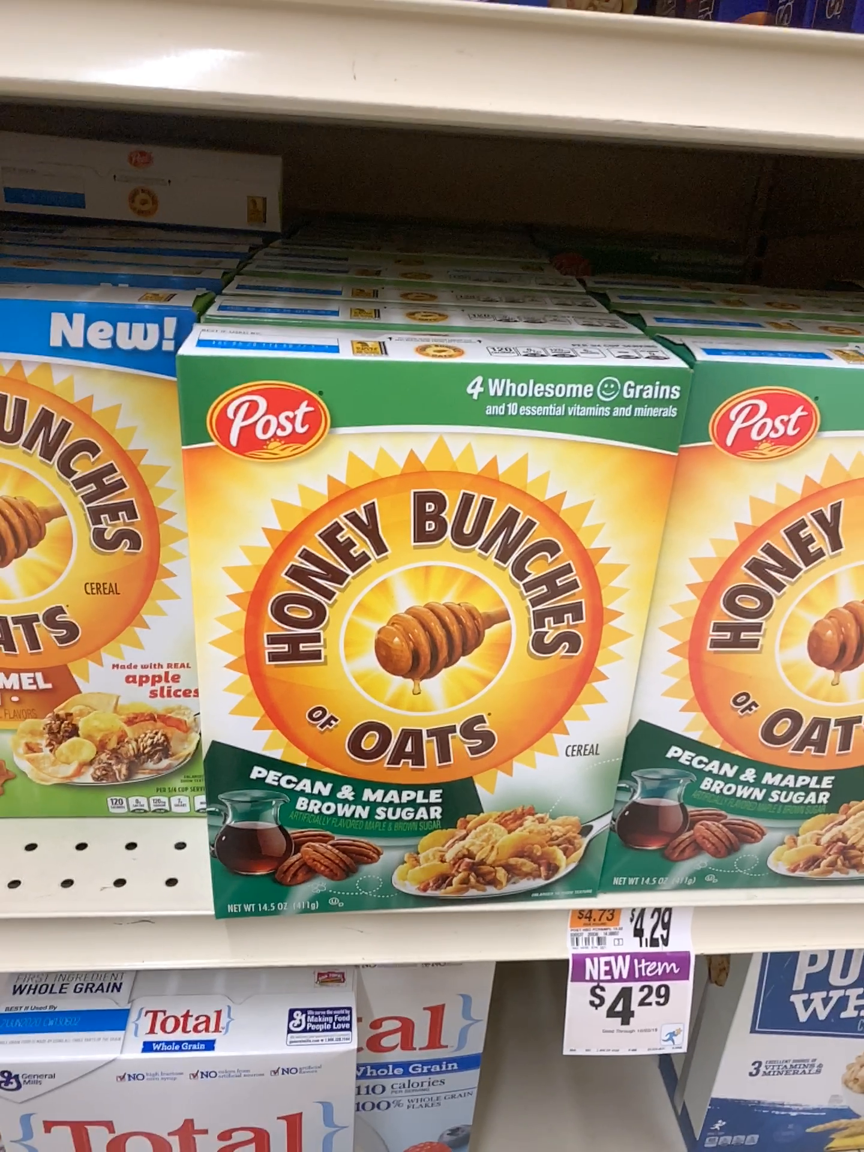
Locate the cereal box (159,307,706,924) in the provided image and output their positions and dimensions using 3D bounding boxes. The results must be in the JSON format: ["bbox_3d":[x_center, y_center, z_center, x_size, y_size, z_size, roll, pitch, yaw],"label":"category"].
[{"bbox_3d":[-0.008,0.029,0.409,0.200,0.278,0.060,-1,27,-9],"label":"cereal box"}]
